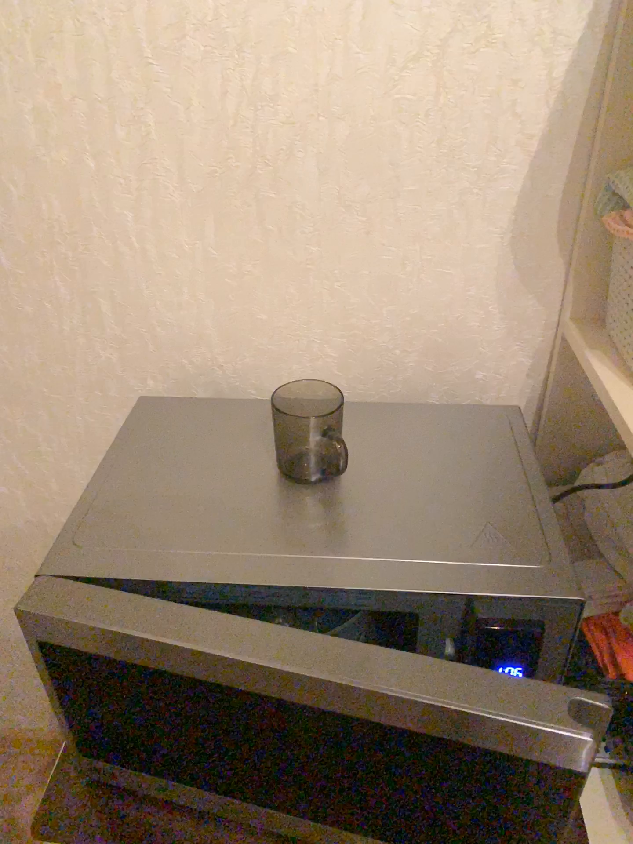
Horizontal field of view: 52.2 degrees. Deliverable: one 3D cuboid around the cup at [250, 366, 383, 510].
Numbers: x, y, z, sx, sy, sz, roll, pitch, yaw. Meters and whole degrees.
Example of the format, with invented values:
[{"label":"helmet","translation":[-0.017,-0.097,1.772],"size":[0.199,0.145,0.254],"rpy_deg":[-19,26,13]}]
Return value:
[{"label":"cup","translation":[-0.001,0.012,0.640],"size":[0.080,0.079,0.111],"rpy_deg":[-21,37,-27]}]
